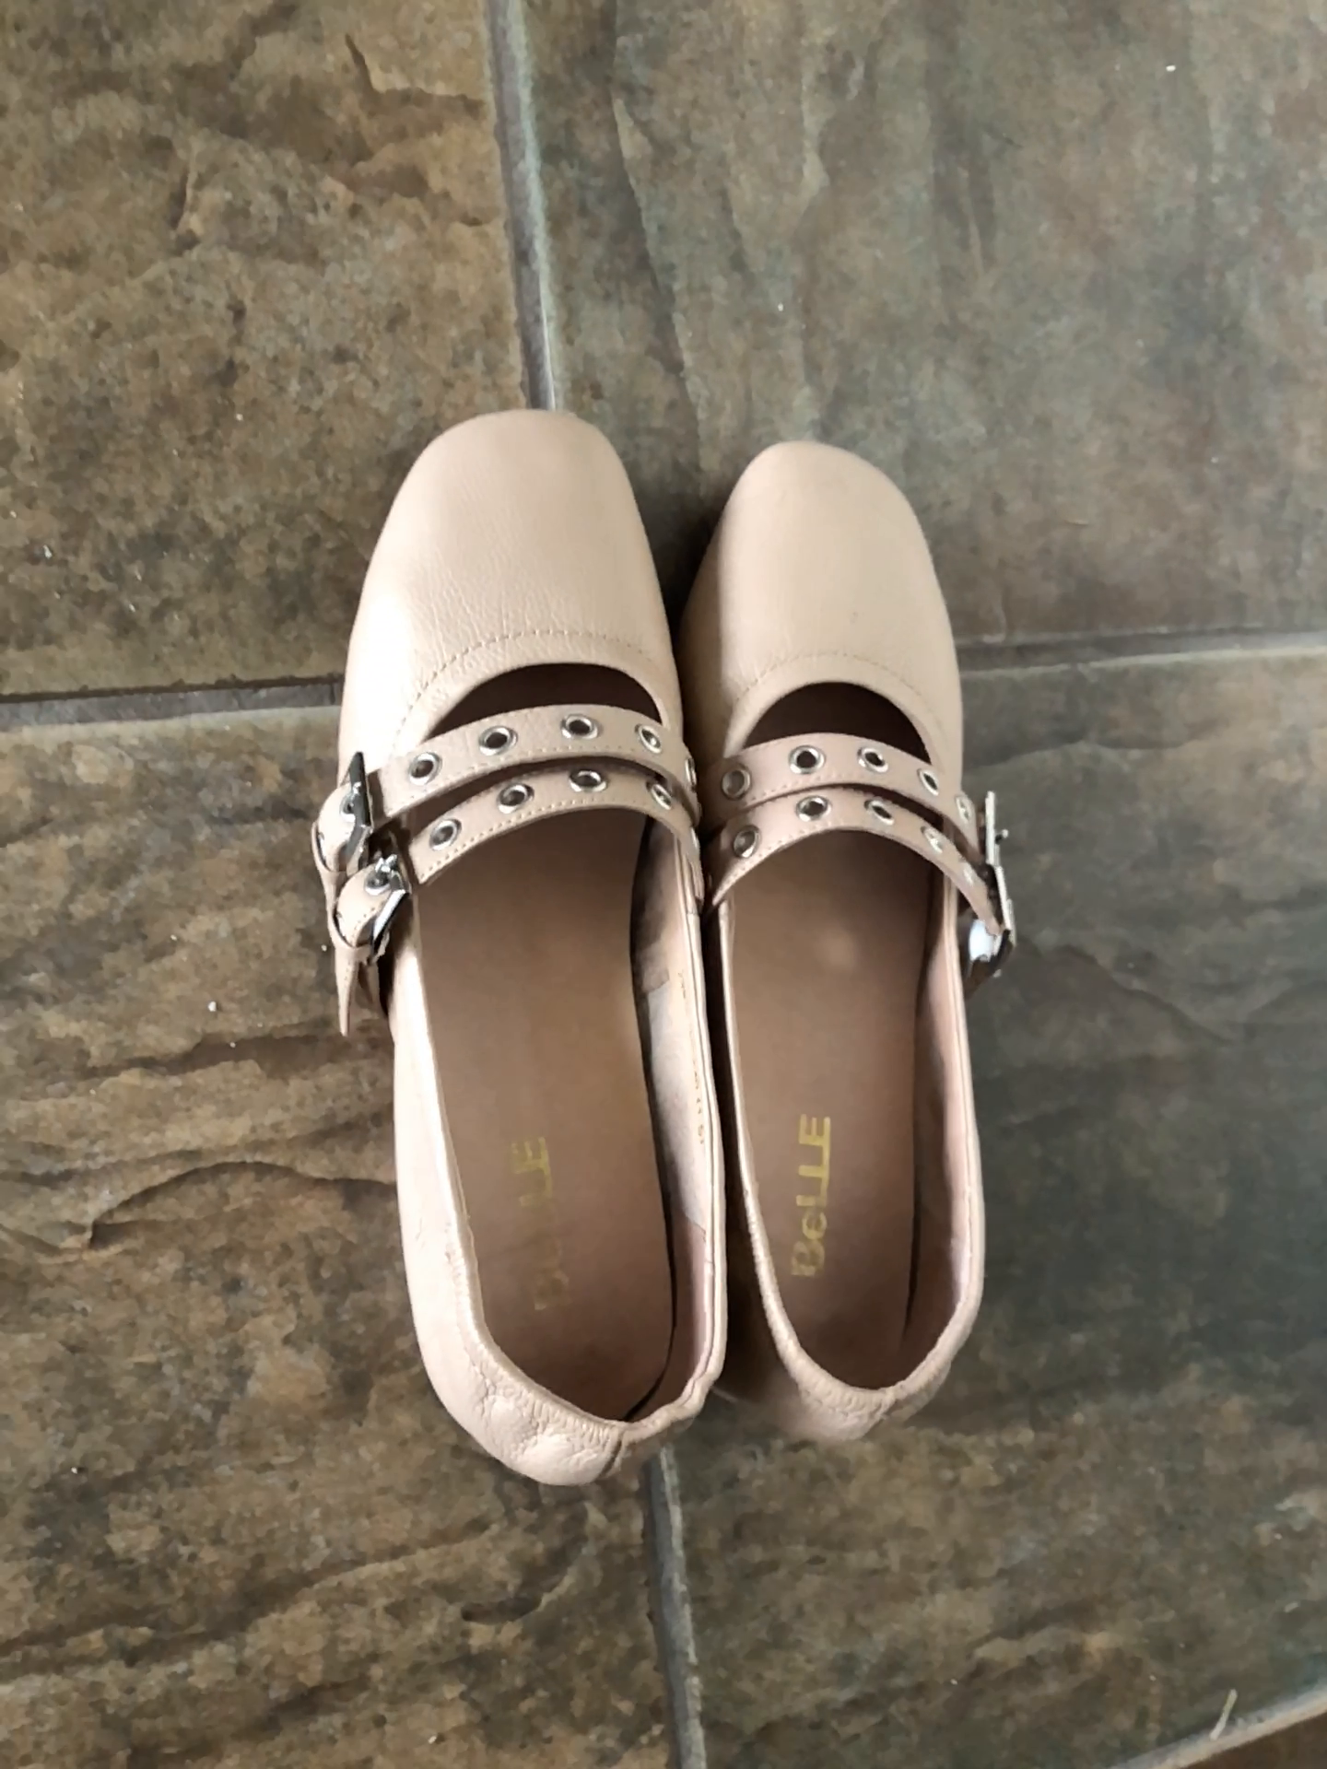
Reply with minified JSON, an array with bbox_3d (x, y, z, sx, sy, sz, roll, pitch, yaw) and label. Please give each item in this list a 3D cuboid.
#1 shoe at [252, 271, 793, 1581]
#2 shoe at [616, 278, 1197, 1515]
[{"bbox_3d":[-0.037,0.007,0.339,0.100,0.090,0.250,-1,90,-20],"label":"shoe"},{"bbox_3d":[0.054,0.004,0.353,0.090,0.090,0.250,5,88,-20],"label":"shoe"}]
